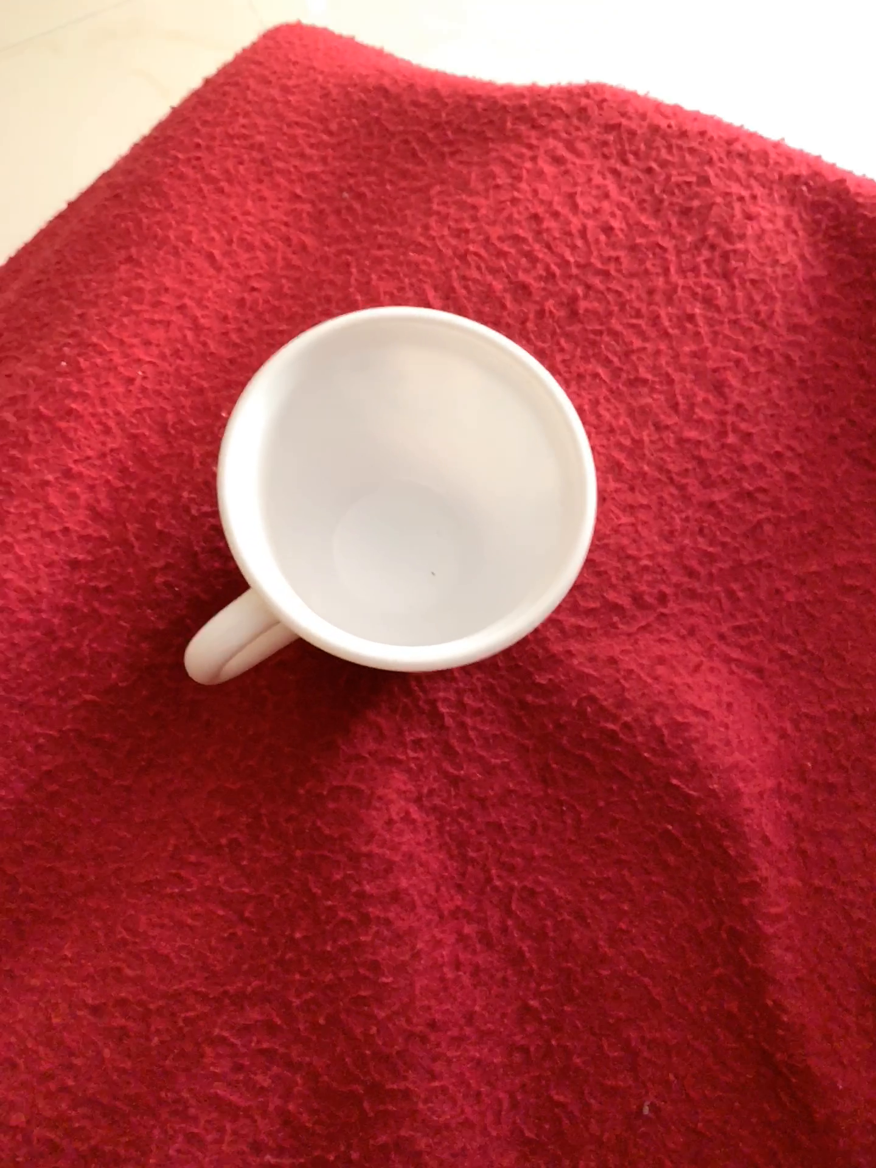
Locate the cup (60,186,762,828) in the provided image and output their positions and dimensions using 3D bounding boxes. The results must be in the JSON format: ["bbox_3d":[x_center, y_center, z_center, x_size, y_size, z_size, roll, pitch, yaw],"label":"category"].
[{"bbox_3d":[-0.005,-0.014,0.191,0.100,0.050,0.080,-36,79,-11],"label":"cup"}]
